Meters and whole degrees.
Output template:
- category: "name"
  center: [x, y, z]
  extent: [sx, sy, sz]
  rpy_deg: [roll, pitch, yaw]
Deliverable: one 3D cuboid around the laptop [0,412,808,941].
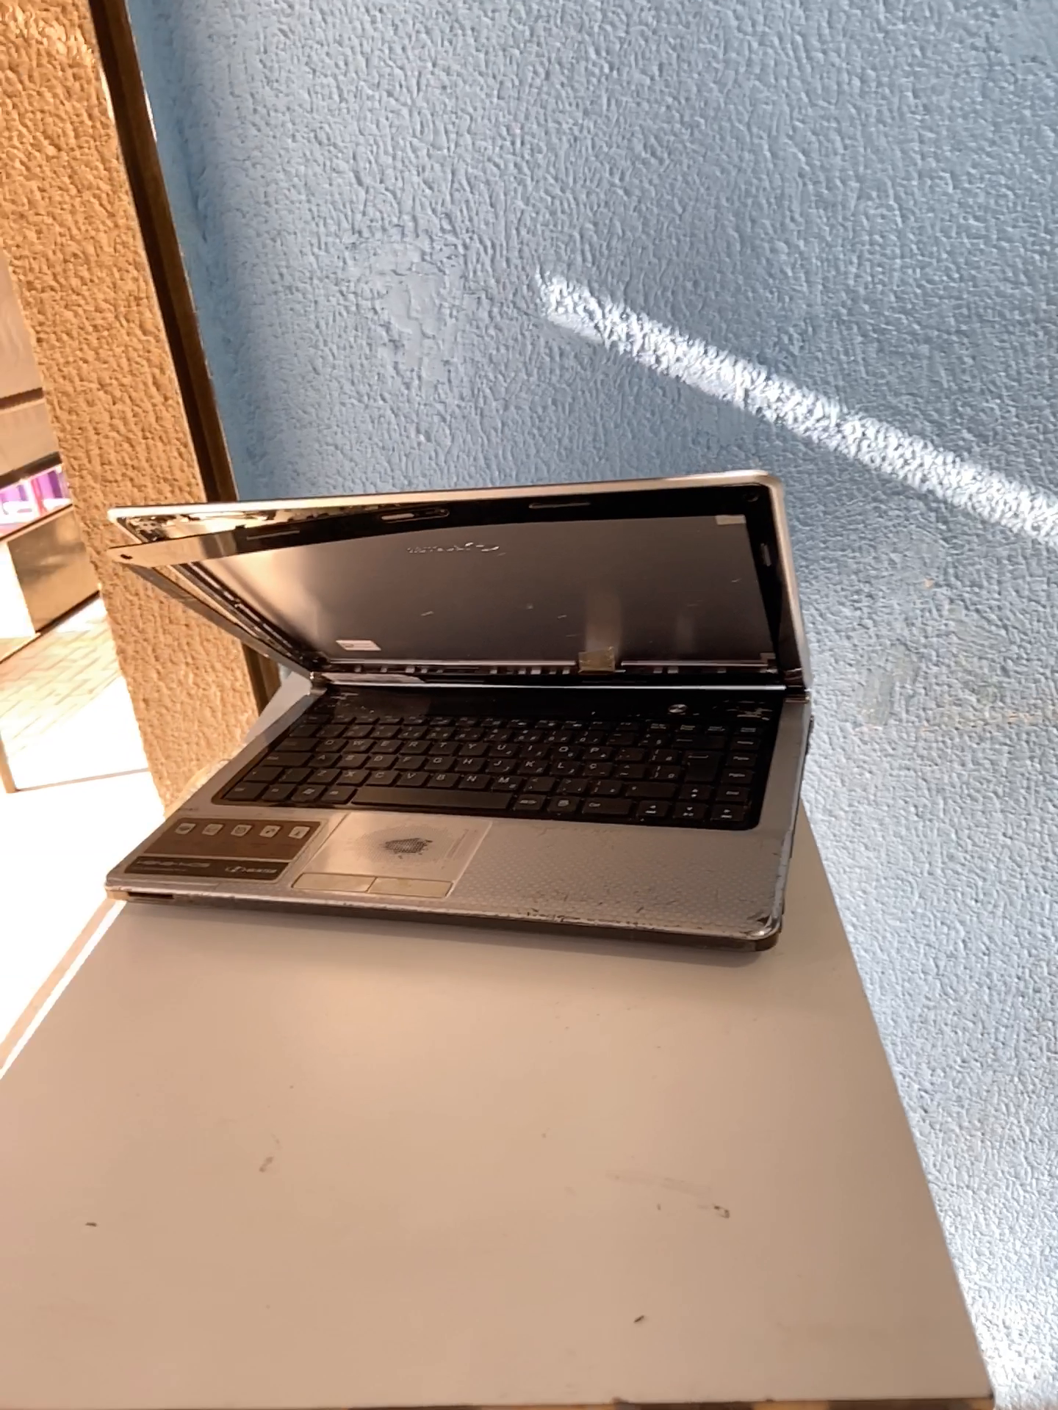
- category: "laptop"
  center: [-0.035, -0.031, 0.556]
  extent: [0.326, 0.160, 0.233]
  rpy_deg: [0, 25, 19]
